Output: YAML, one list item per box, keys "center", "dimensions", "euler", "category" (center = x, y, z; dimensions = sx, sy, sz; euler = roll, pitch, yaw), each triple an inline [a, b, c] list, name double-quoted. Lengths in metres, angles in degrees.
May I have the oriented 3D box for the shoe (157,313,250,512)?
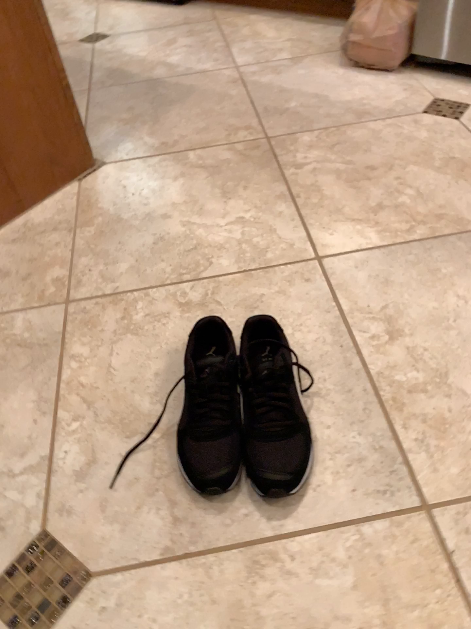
- center: [-0.045, 0.134, 0.720]
  dimensions: [0.108, 0.095, 0.270]
  euler: [-6, 47, 2]
  category: "shoe"

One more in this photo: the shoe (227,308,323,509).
- center: [0.052, 0.127, 0.714]
  dimensions: [0.108, 0.095, 0.270]
  euler: [-7, 47, 3]
  category: "shoe"
